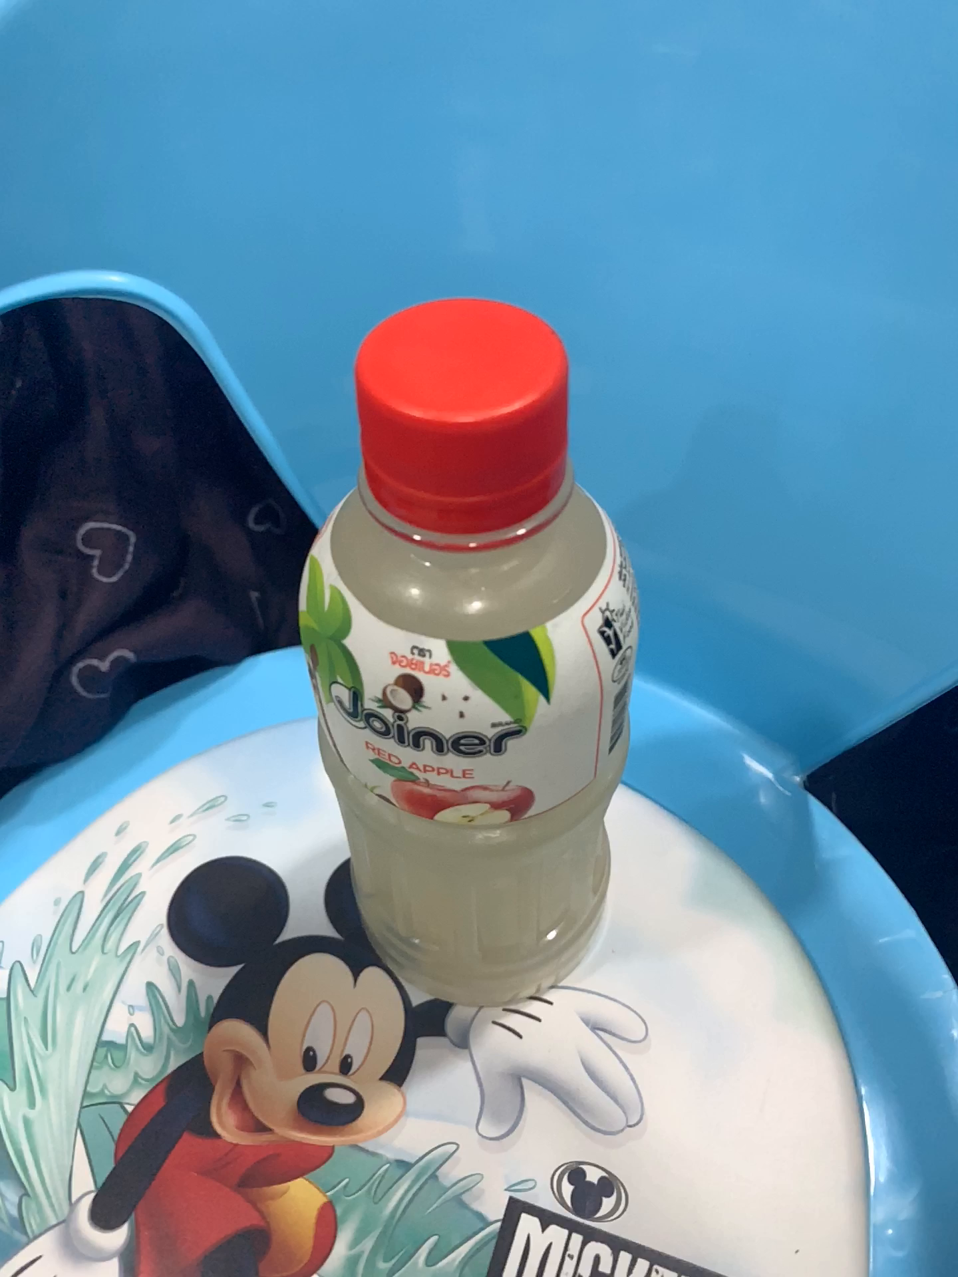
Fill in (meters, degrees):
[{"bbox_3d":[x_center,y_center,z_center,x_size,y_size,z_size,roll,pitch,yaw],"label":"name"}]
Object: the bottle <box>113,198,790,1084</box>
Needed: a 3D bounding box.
[{"bbox_3d":[0.001,0.011,0.183,0.070,0.149,0.060,15,48,16],"label":"bottle"}]
